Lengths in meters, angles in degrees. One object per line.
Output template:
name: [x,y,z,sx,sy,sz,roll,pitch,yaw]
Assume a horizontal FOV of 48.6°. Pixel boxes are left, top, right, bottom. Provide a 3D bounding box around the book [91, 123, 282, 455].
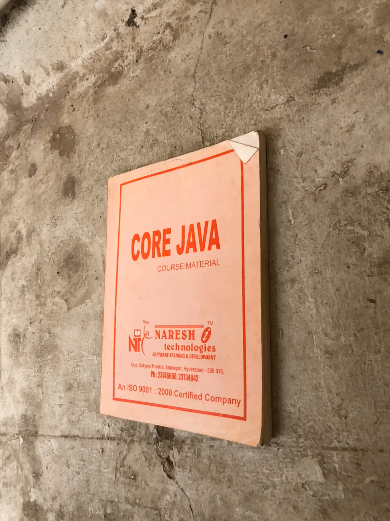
book: [-0.017,0.026,0.411,0.201,0.030,0.260,-8,76,39]
